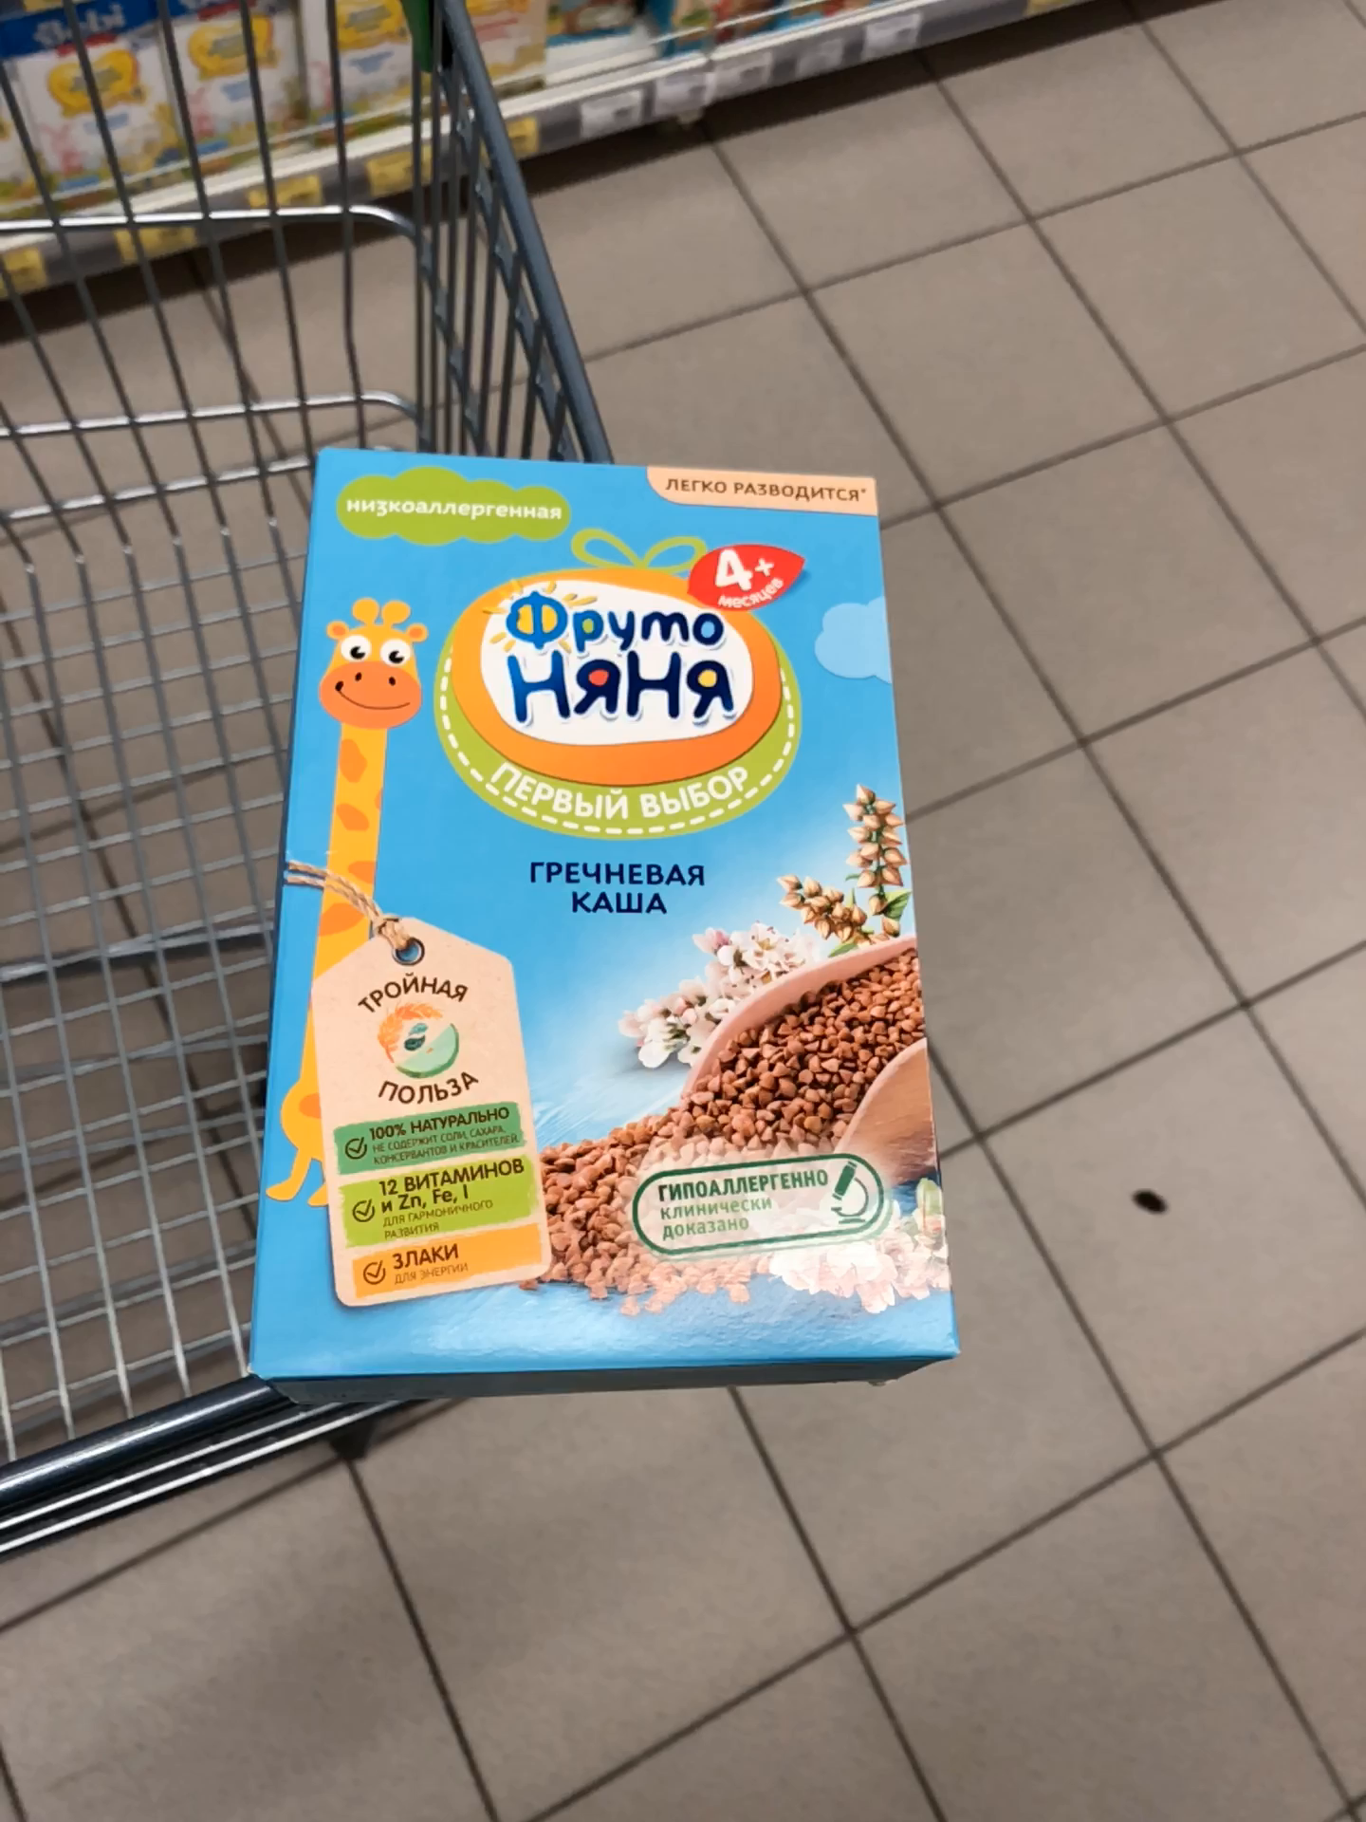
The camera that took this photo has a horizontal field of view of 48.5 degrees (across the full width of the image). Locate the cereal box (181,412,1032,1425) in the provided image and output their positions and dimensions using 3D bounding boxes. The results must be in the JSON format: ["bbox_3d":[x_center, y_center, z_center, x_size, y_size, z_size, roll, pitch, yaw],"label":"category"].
[{"bbox_3d":[-0.018,-0.004,0.329,0.150,0.050,0.210,1,67,-8],"label":"cereal box"}]
